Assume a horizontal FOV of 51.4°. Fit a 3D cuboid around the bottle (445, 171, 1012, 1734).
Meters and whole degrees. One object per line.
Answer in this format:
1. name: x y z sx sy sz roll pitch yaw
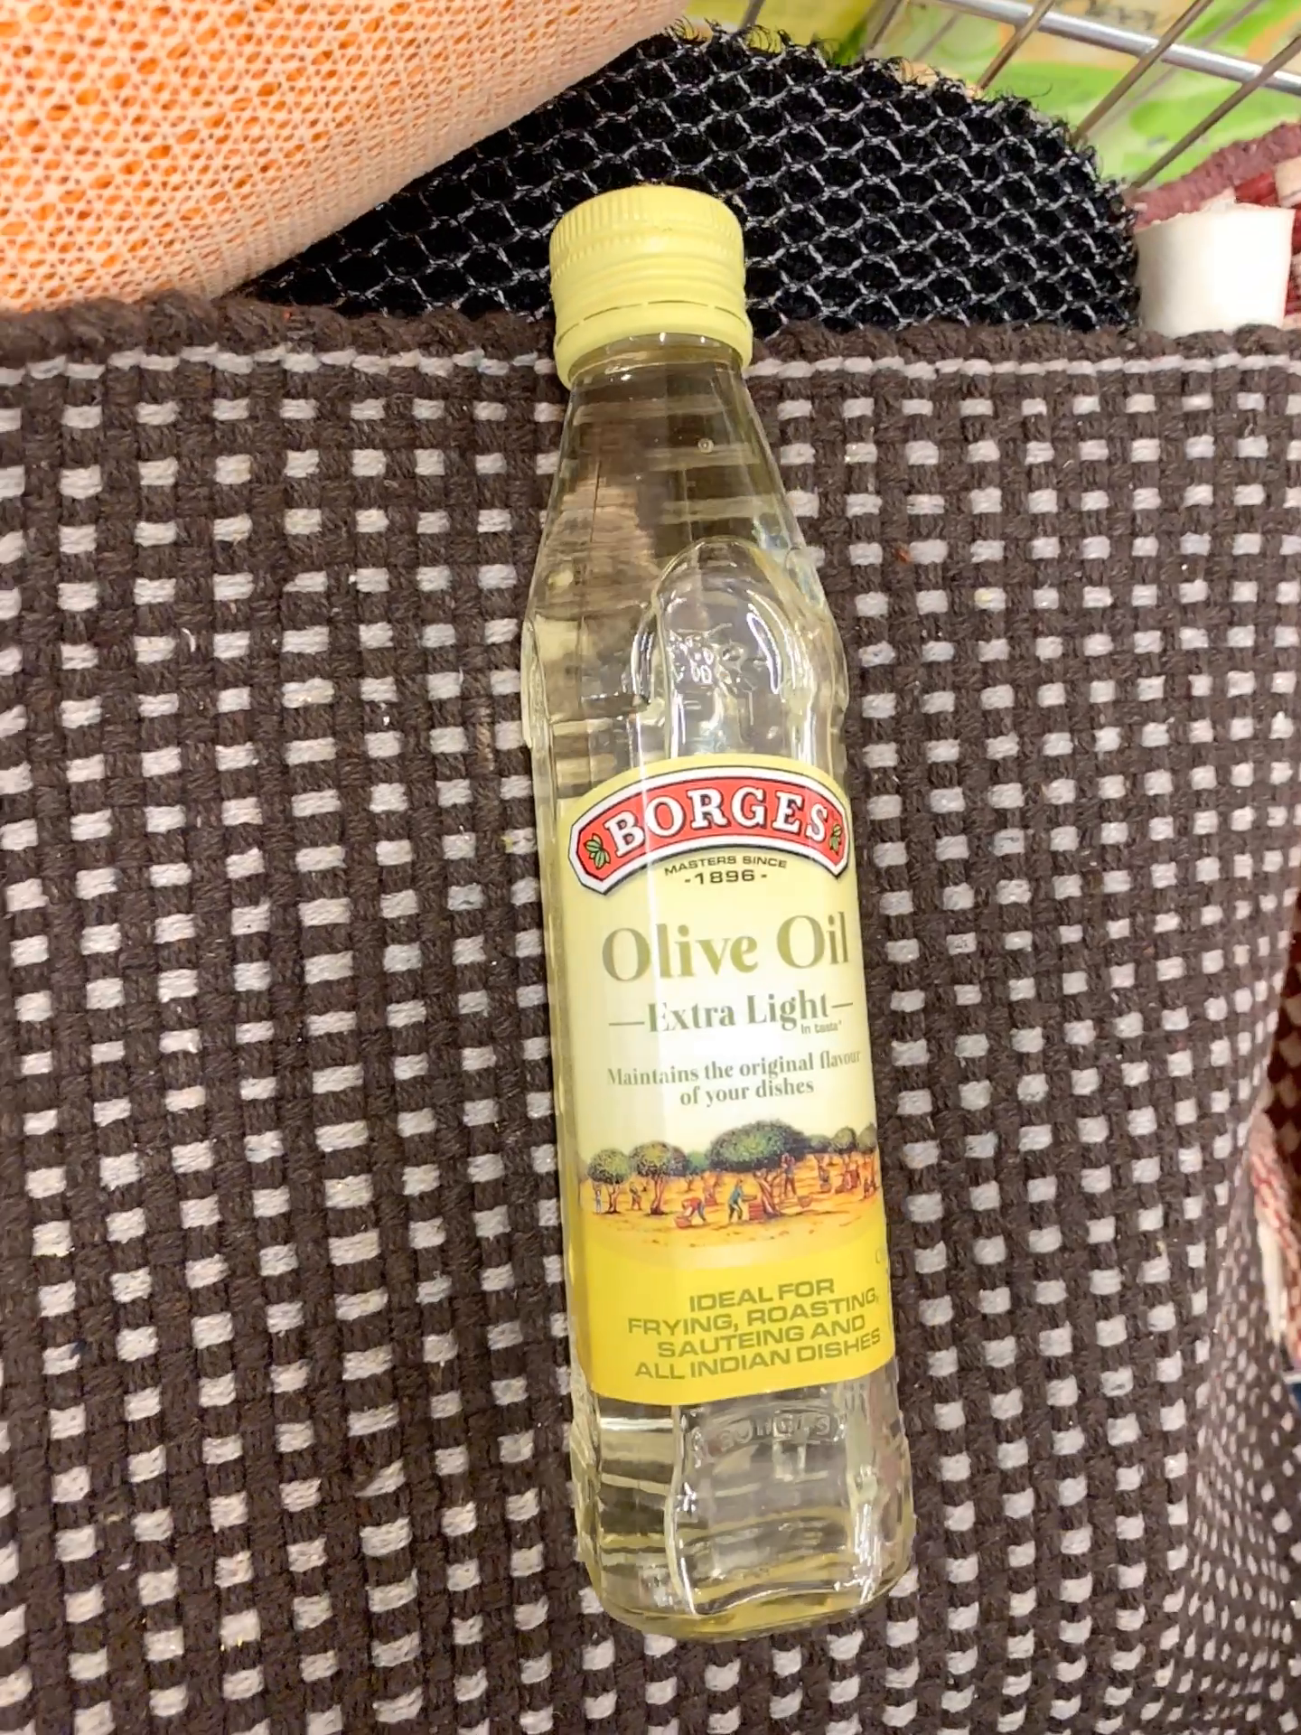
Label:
1. bottle: 0.008 0.012 0.194 0.060 0.040 0.200 -3 89 -14
